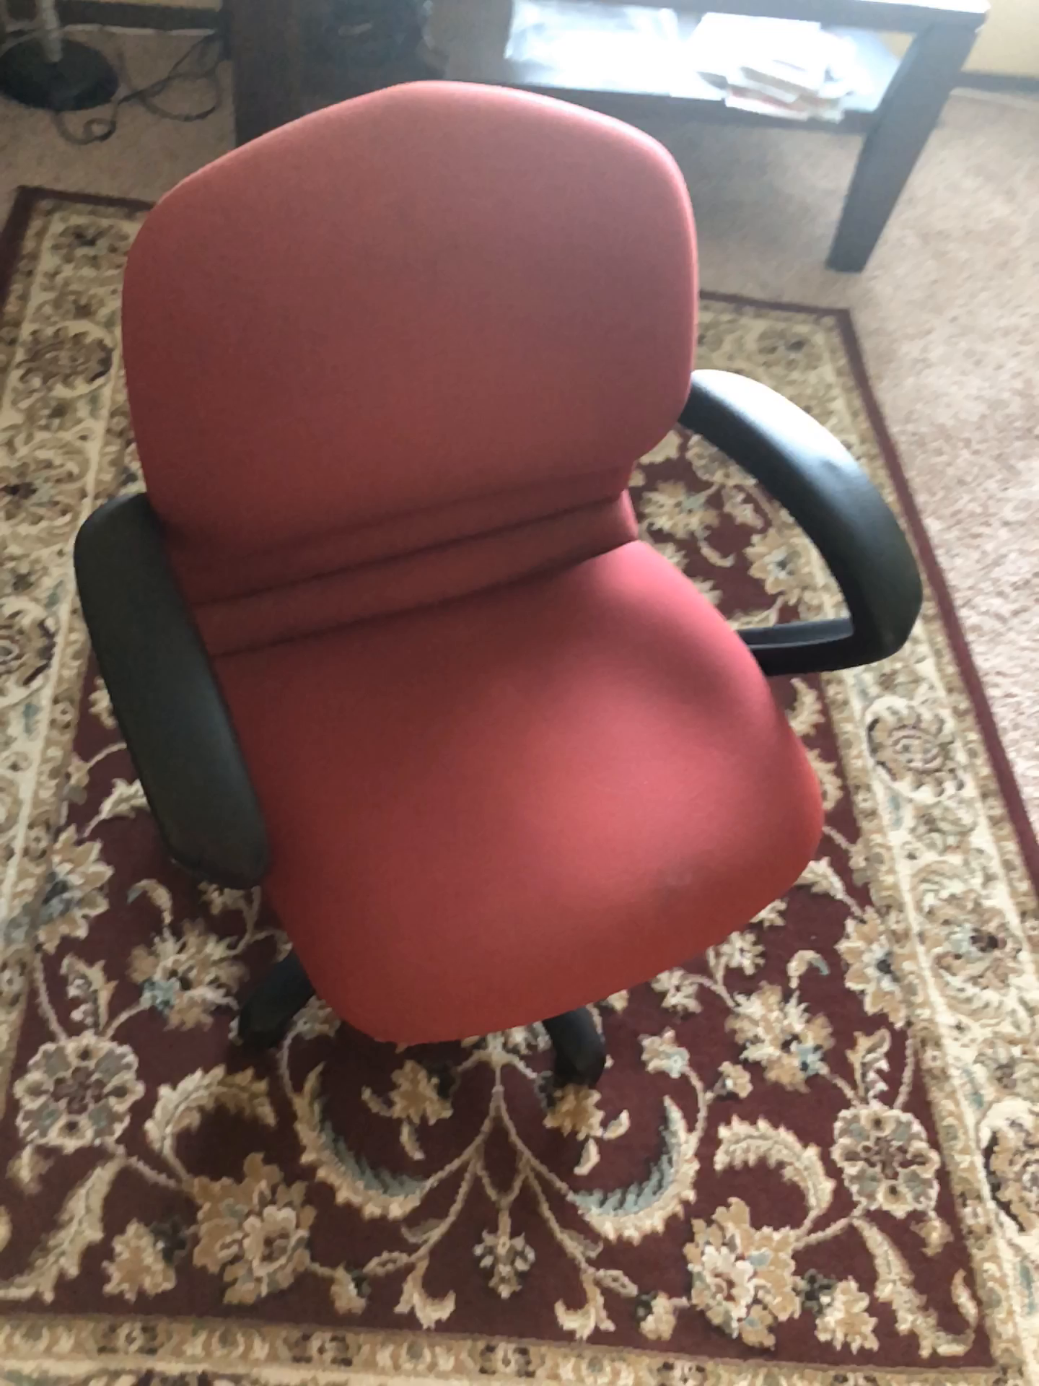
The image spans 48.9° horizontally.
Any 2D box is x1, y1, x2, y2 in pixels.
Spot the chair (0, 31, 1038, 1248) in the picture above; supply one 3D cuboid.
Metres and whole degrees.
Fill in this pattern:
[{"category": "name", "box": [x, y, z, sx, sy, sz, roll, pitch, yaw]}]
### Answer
[{"category": "chair", "box": [-0.002, -0.031, 1.006, 0.651, 0.729, 0.620, -16, 60, -22]}]
